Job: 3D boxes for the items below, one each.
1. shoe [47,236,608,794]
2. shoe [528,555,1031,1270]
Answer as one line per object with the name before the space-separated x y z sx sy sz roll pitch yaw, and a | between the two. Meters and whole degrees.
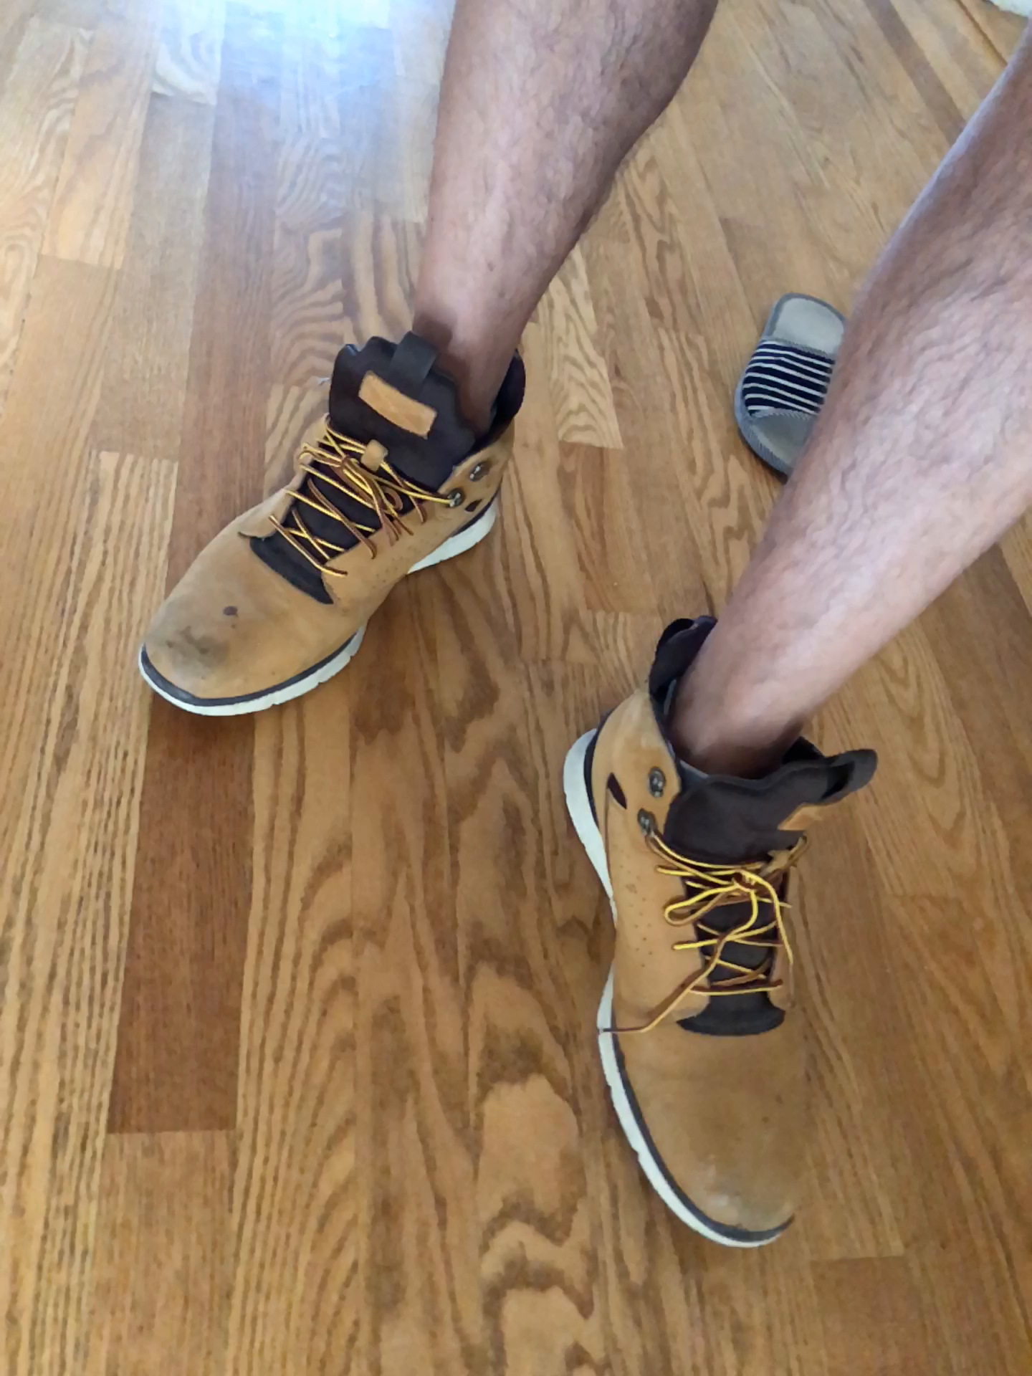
shoe | -0.097 -0.111 0.642 0.120 0.149 0.311 37 50 8
shoe | 0.105 0.097 0.539 0.120 0.139 0.291 3 53 -19
